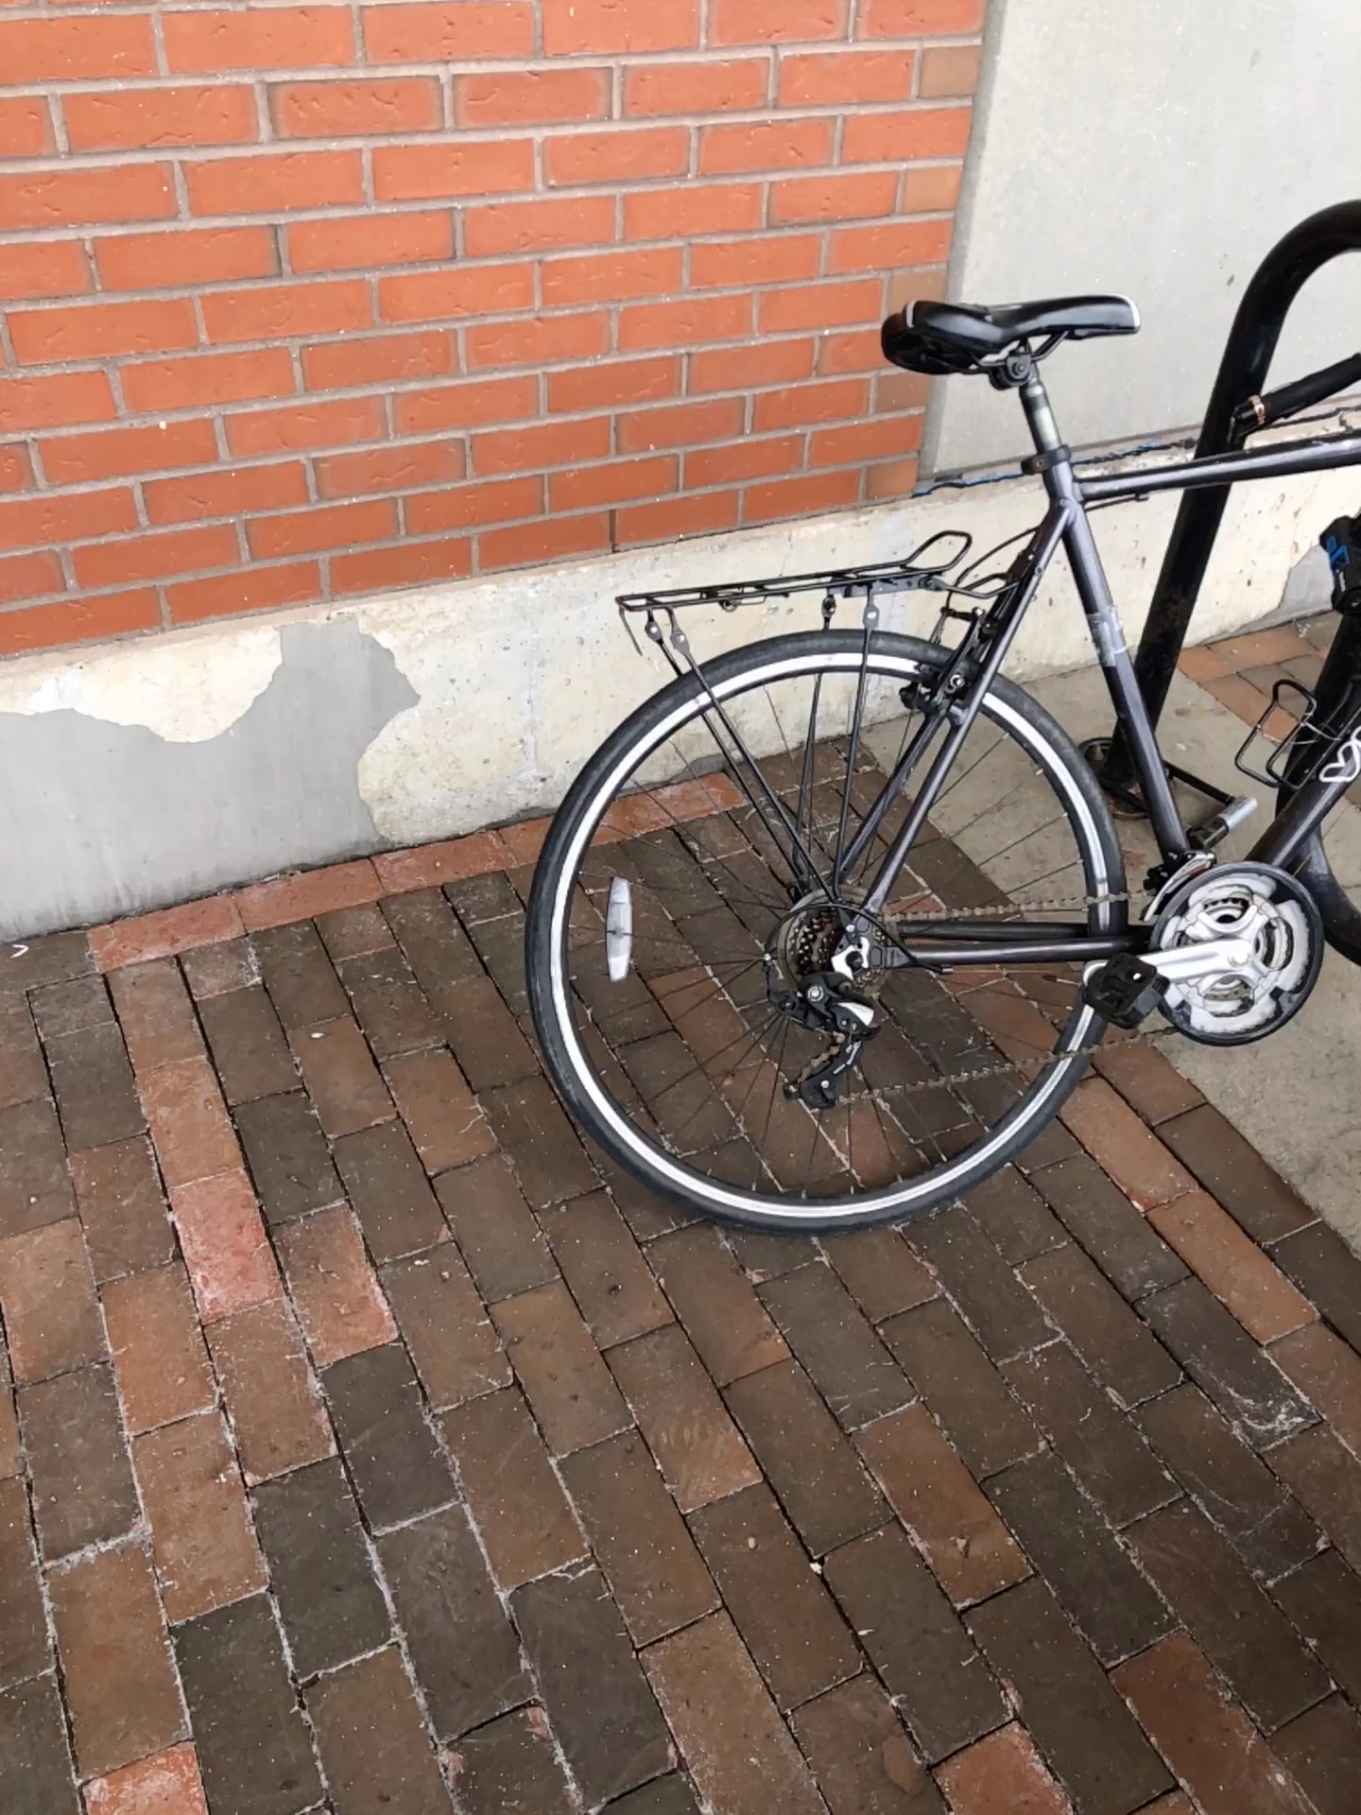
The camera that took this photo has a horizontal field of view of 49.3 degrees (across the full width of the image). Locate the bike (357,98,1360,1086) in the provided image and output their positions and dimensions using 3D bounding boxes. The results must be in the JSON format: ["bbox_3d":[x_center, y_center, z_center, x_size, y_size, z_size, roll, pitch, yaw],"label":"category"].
[{"bbox_3d":[0.362,-0.509,1.901,1.417,0.734,0.746,-15,44,-22],"label":"bike"}]
